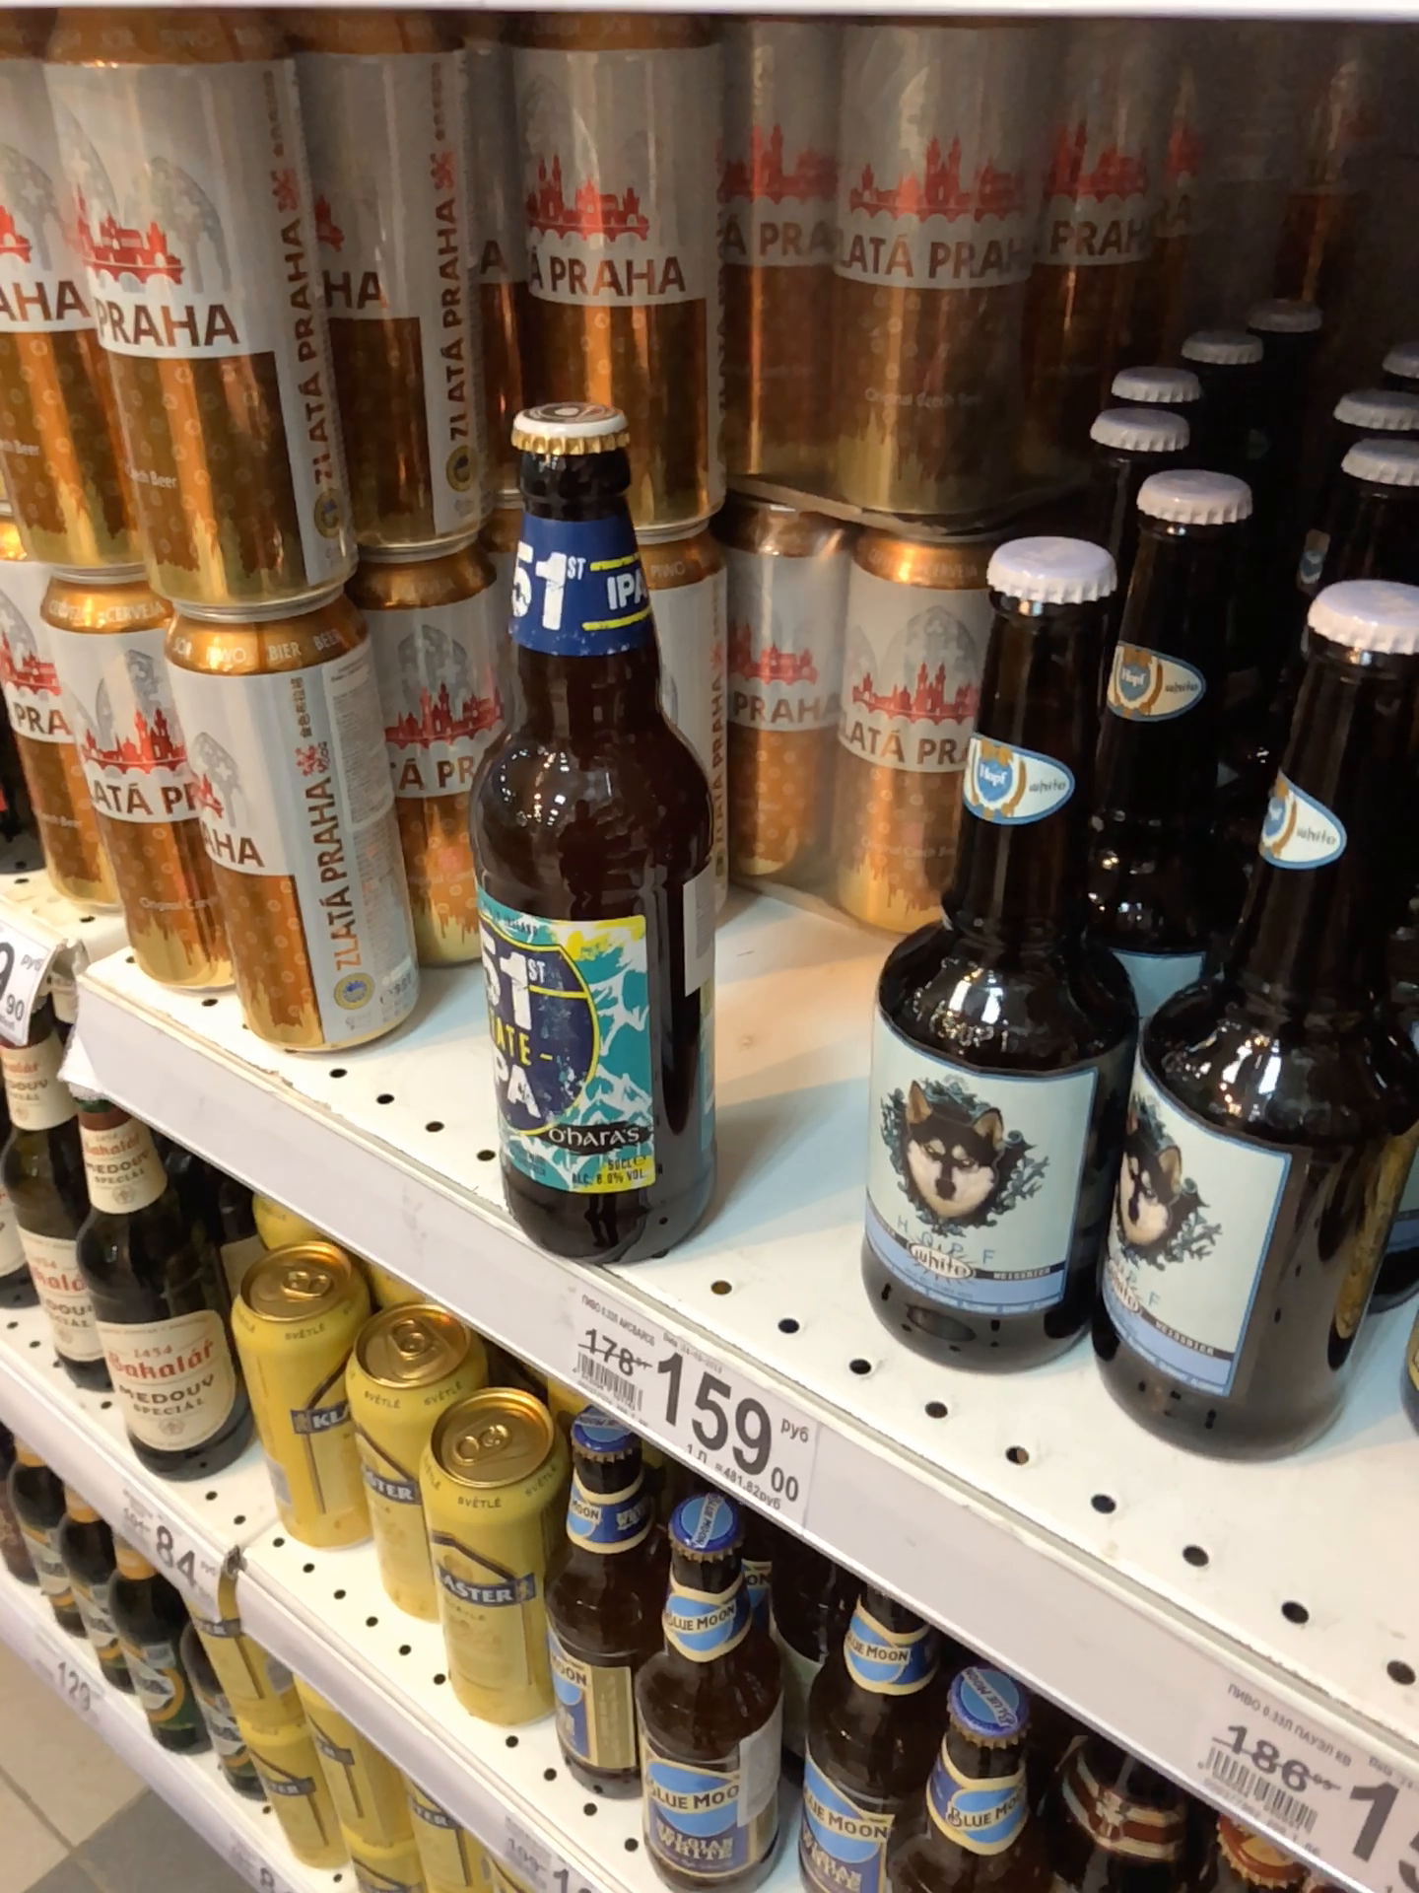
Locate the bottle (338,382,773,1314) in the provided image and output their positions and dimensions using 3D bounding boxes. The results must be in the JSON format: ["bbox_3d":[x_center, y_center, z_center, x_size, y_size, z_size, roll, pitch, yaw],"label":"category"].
[{"bbox_3d":[-0.038,-0.023,0.438,0.070,0.239,0.080,-26,40,-36],"label":"bottle"}]
